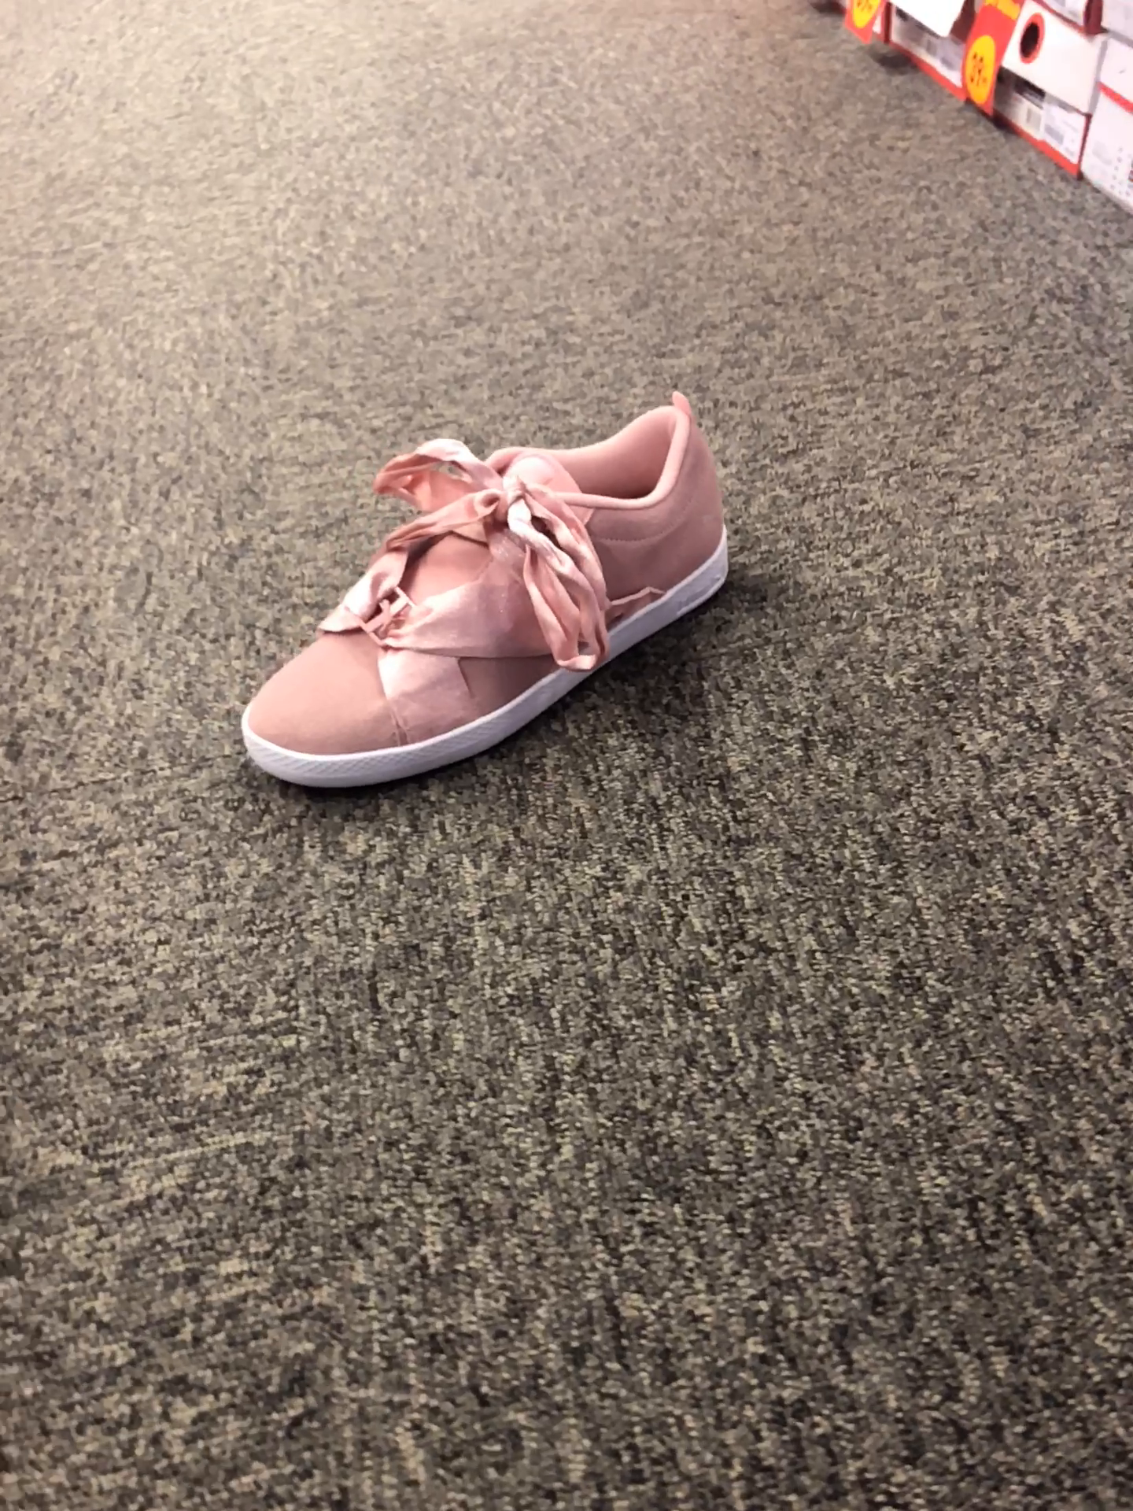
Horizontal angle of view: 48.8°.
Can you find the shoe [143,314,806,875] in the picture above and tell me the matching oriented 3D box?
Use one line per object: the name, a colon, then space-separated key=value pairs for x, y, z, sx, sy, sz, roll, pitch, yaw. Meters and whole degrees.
shoe: x=-0.032 y=-0.077 z=0.556 sx=0.262 sy=0.100 sz=0.100 roll=-32 pitch=49 yaw=-13
